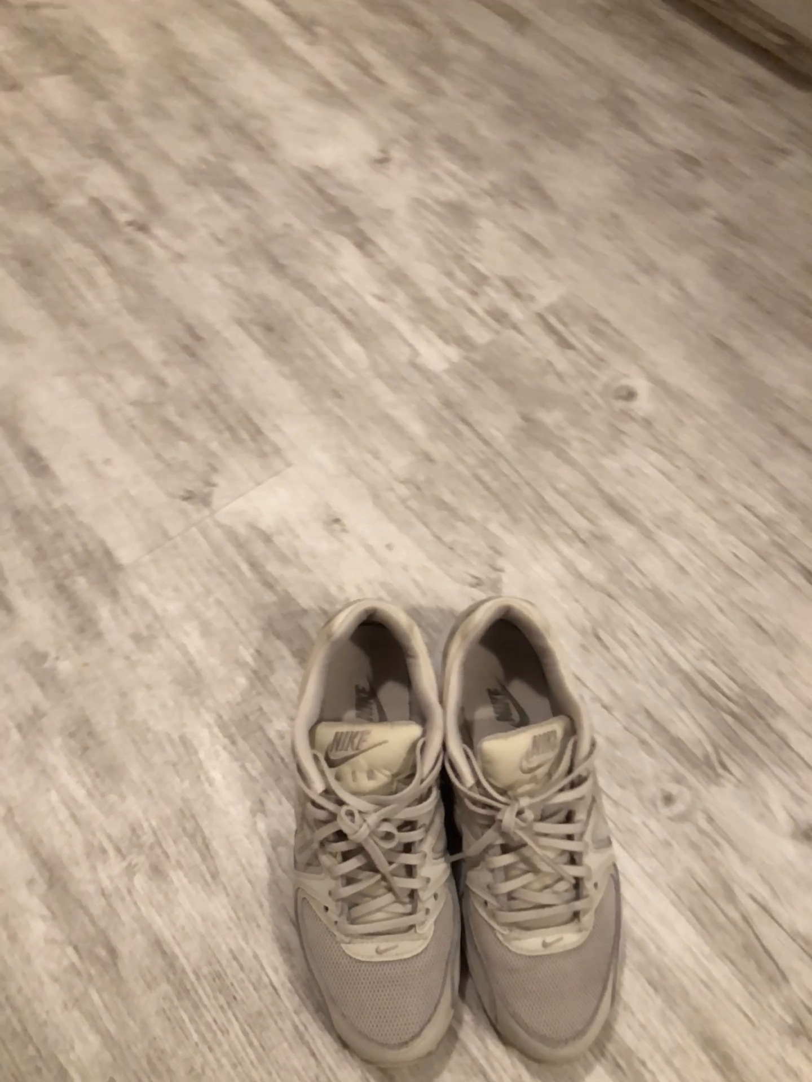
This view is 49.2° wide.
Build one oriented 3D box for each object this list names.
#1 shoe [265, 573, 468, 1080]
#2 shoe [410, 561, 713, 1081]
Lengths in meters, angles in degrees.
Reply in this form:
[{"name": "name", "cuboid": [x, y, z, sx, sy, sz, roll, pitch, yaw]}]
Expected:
[{"name": "shoe", "cuboid": [-0.019, 0.157, 0.506, 0.090, 0.120, 0.250, -1, 61, -1]}, {"name": "shoe", "cuboid": [0.069, 0.155, 0.500, 0.100, 0.120, 0.250, -7, 62, -4]}]
